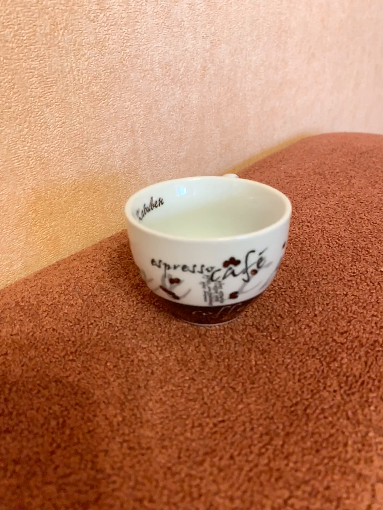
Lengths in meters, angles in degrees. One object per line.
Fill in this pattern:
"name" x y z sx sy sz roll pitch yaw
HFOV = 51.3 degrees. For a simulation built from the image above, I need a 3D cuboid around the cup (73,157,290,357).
"cup" 0.004 -0.007 0.168 0.065 0.040 0.083 7 33 15
